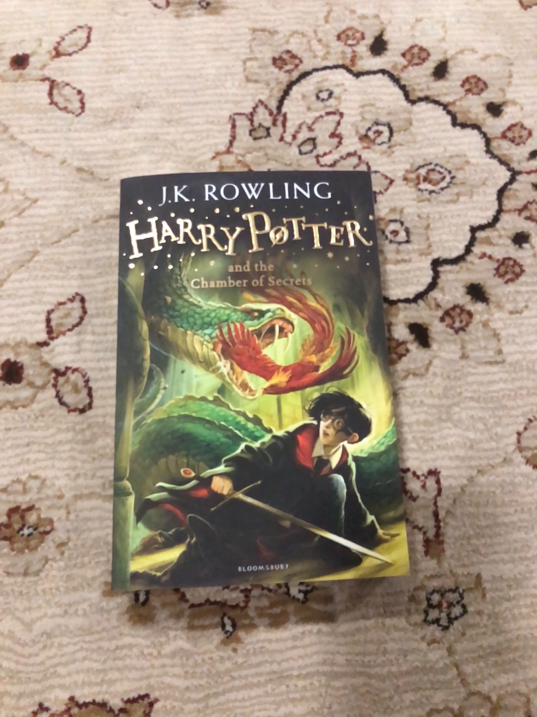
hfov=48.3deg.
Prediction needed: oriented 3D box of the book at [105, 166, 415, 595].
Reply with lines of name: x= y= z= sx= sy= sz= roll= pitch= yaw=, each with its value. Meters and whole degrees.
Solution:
book: x=-0.008 y=0.004 z=0.295 sx=0.131 sy=0.030 sz=0.200 roll=-2 pitch=74 yaw=-1
